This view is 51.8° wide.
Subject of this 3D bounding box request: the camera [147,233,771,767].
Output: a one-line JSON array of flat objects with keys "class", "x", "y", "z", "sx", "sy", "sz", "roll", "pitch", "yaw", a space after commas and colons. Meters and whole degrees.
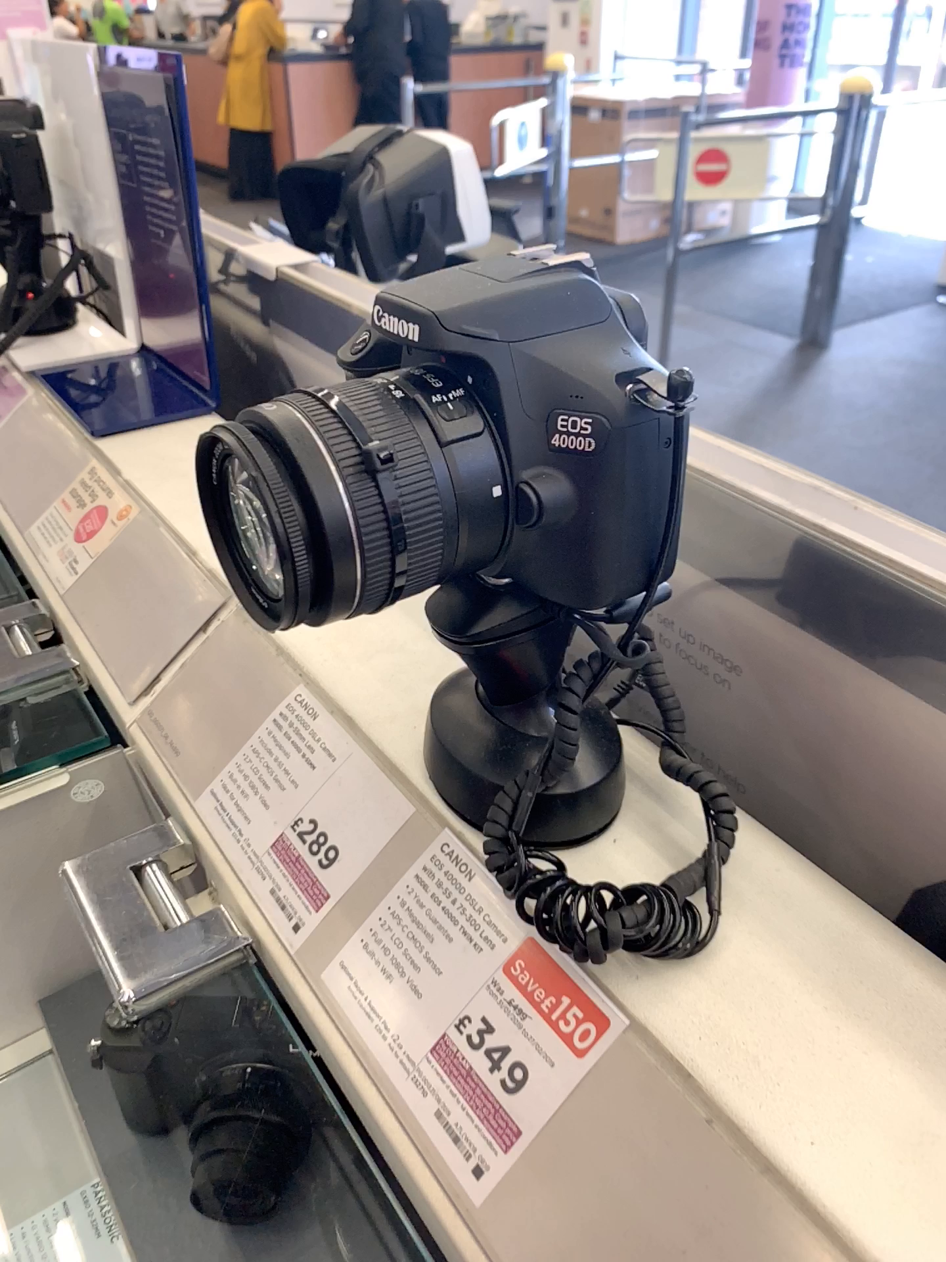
[{"class": "camera", "x": -0.011, "y": -0.058, "z": 0.320, "sx": 0.136, "sy": 0.101, "sz": 0.141, "roll": -18, "pitch": 37, "yaw": -26}]
